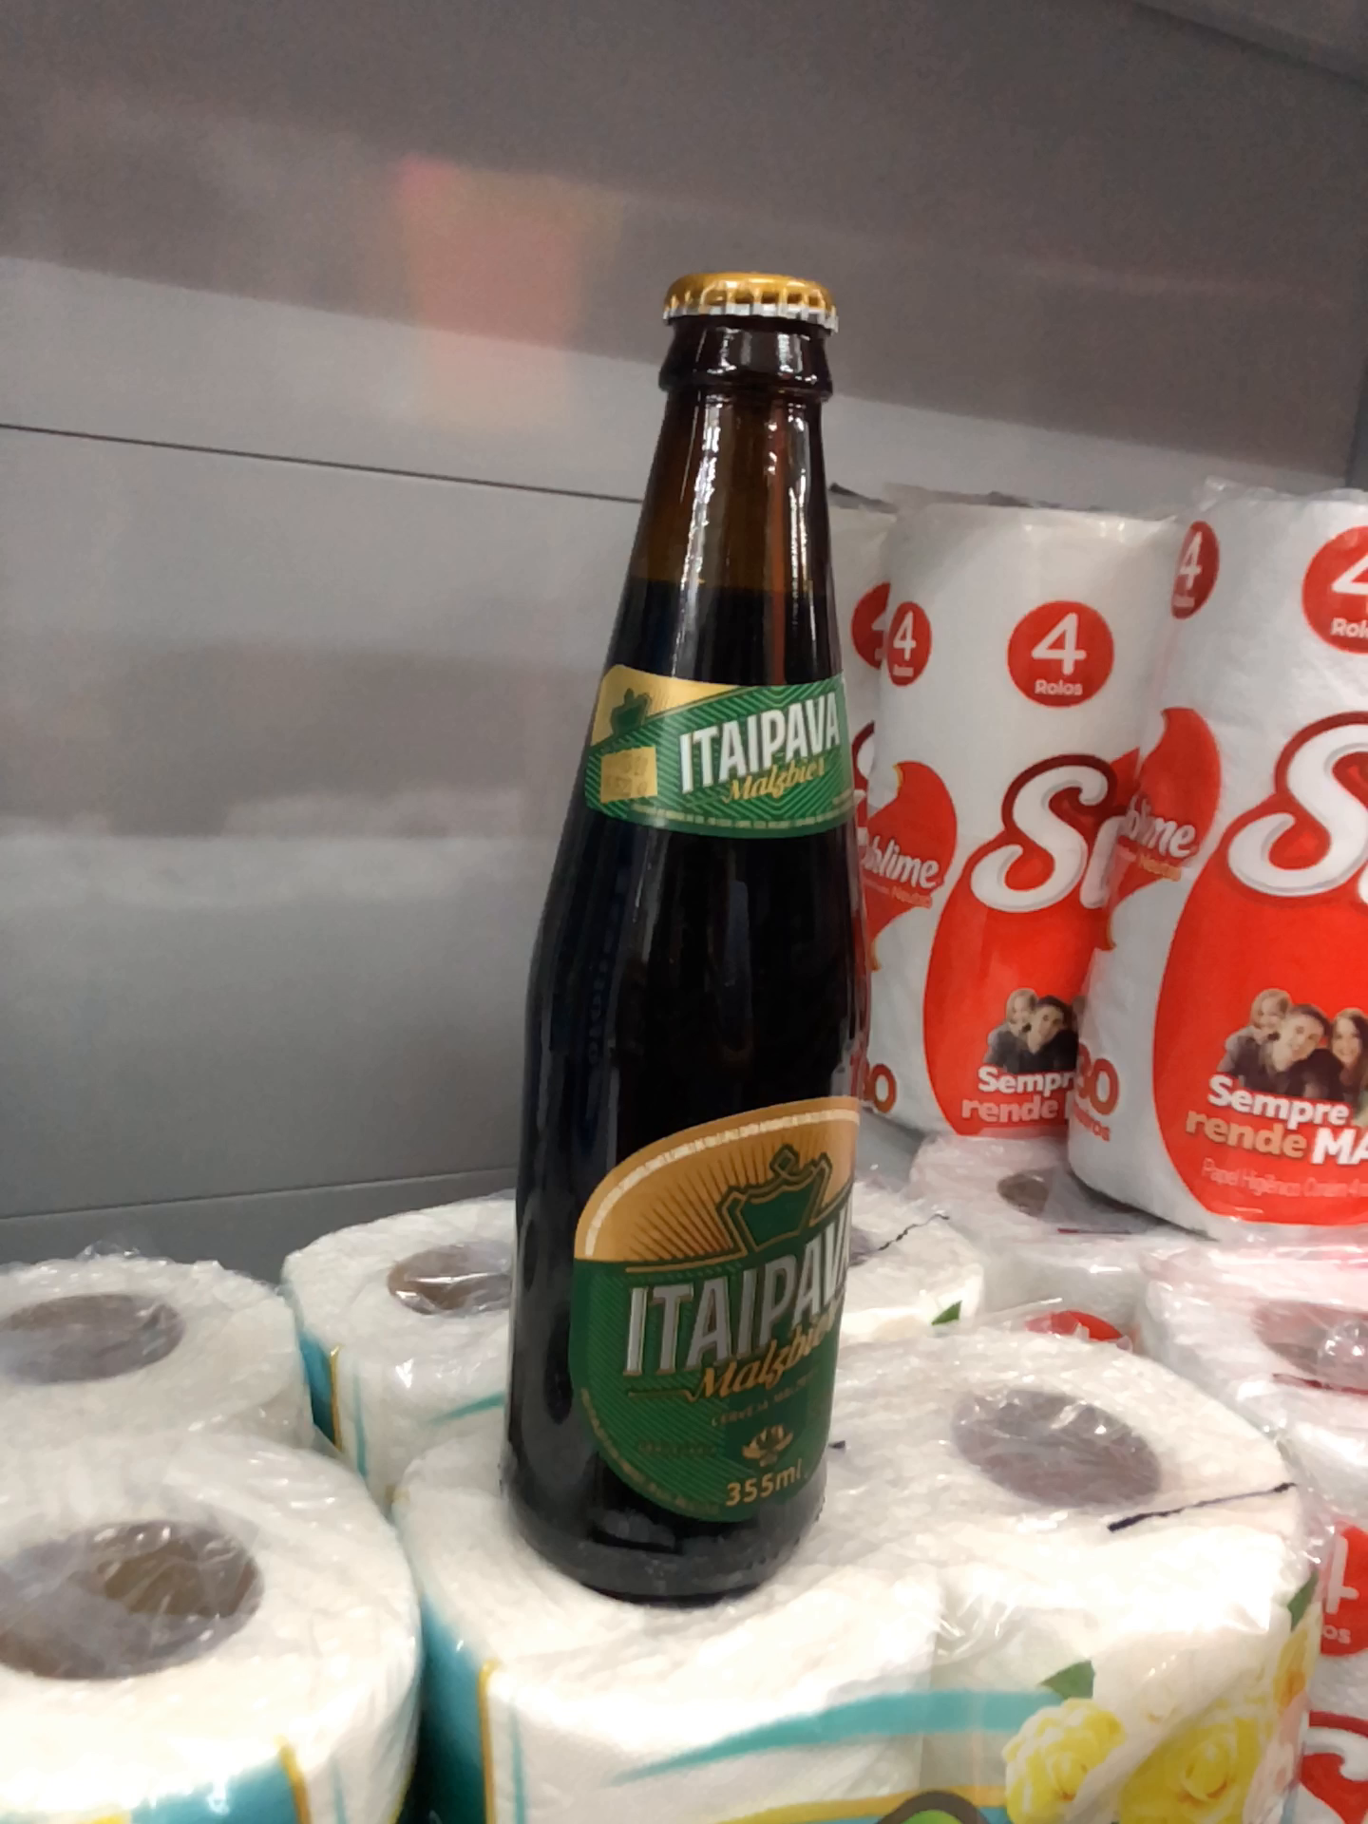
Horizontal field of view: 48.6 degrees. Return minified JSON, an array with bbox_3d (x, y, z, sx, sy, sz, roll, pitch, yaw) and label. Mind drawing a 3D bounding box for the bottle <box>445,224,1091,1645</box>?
[{"bbox_3d":[0.009,0.005,0.270,0.070,0.219,0.060,-2,15,-33],"label":"bottle"}]
